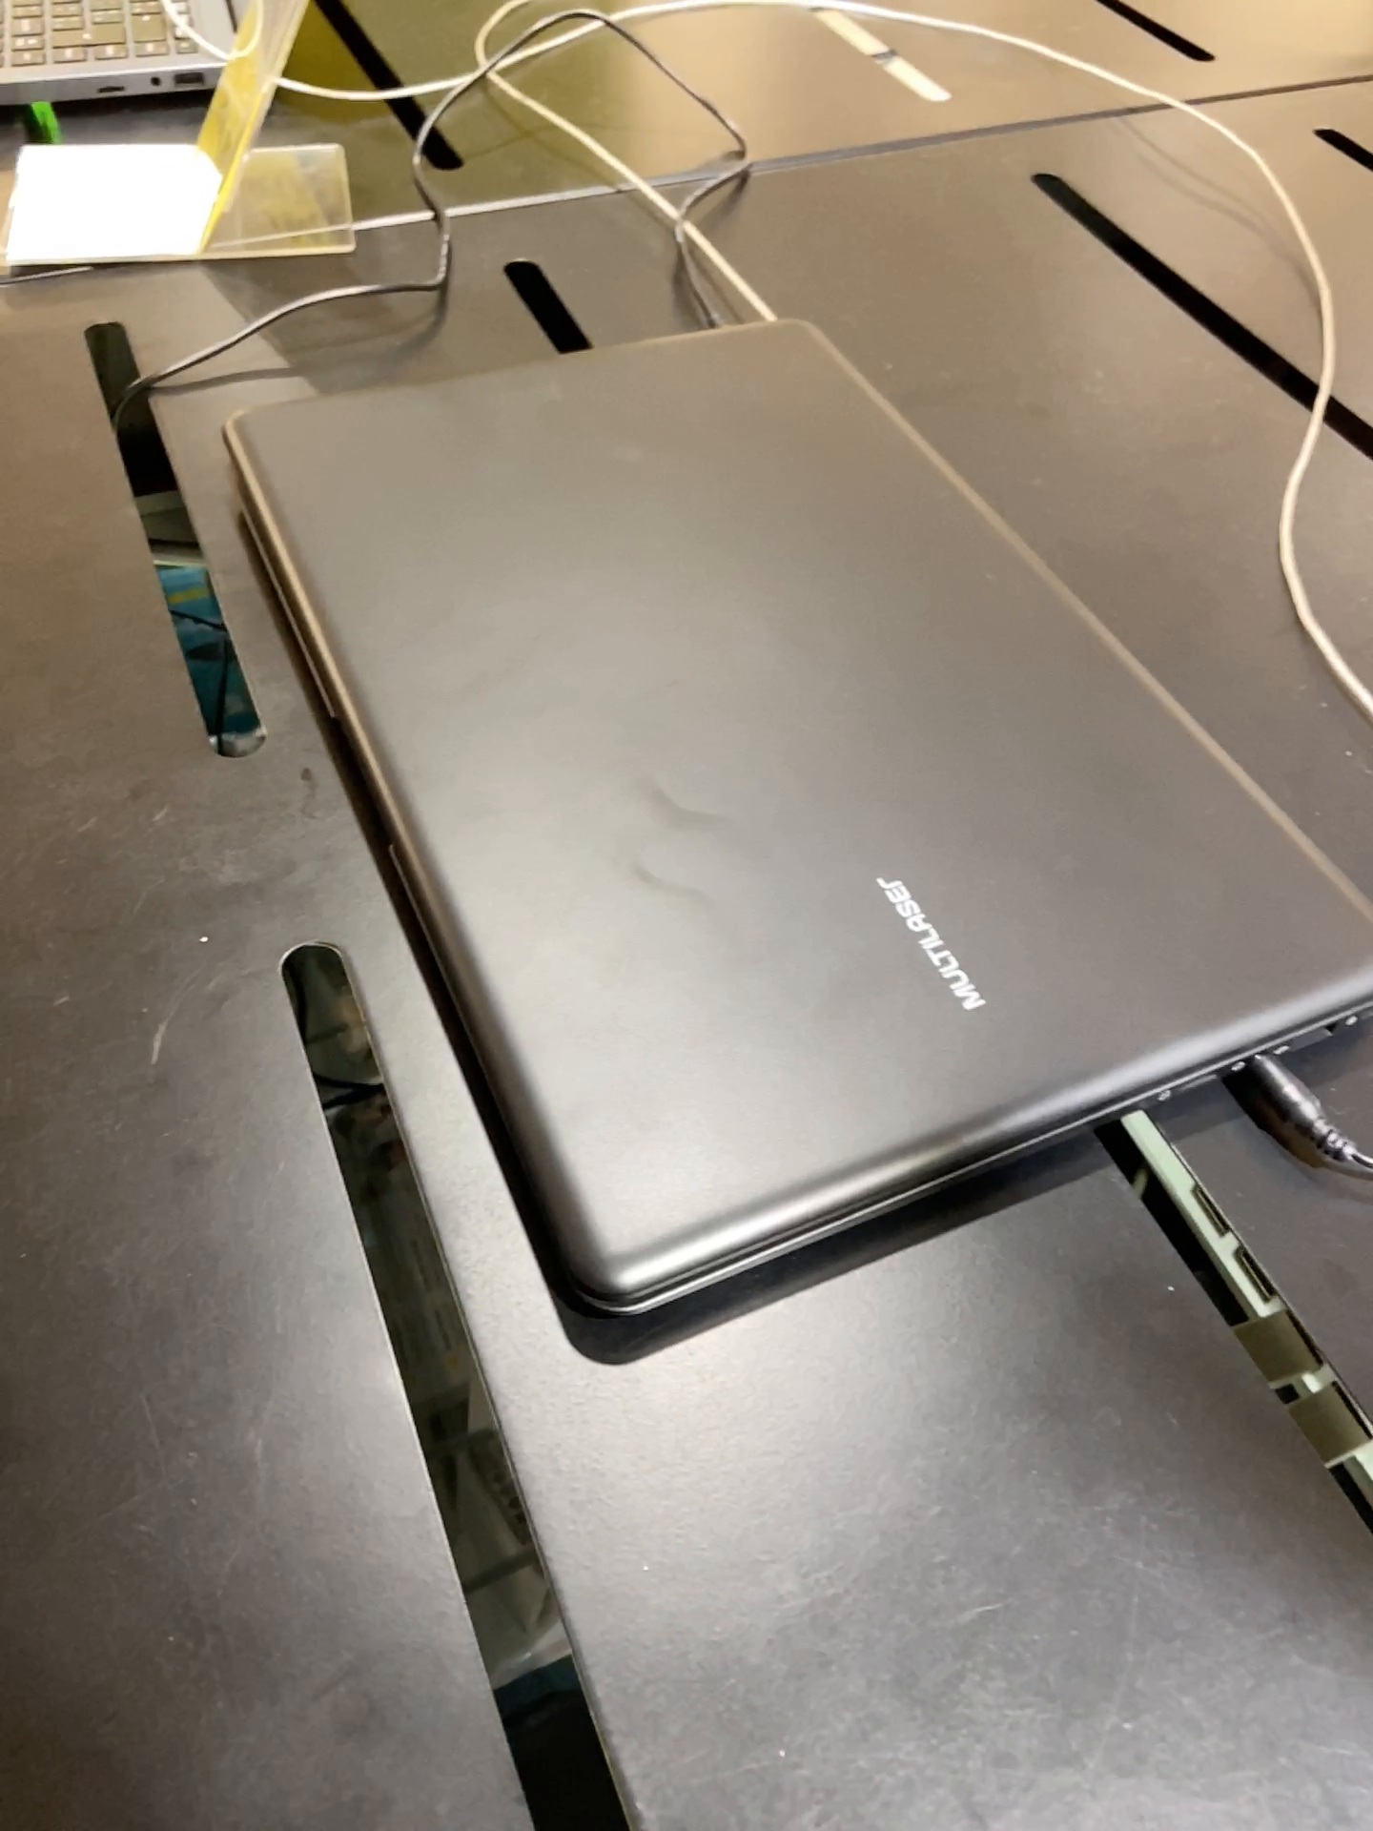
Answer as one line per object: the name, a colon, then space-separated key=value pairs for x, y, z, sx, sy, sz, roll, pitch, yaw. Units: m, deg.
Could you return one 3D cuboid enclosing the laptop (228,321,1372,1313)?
laptop: x=0.013 y=-0.070 z=0.401 sx=0.211 sy=0.001 sz=0.325 roll=-18 pitch=54 yaw=-17
